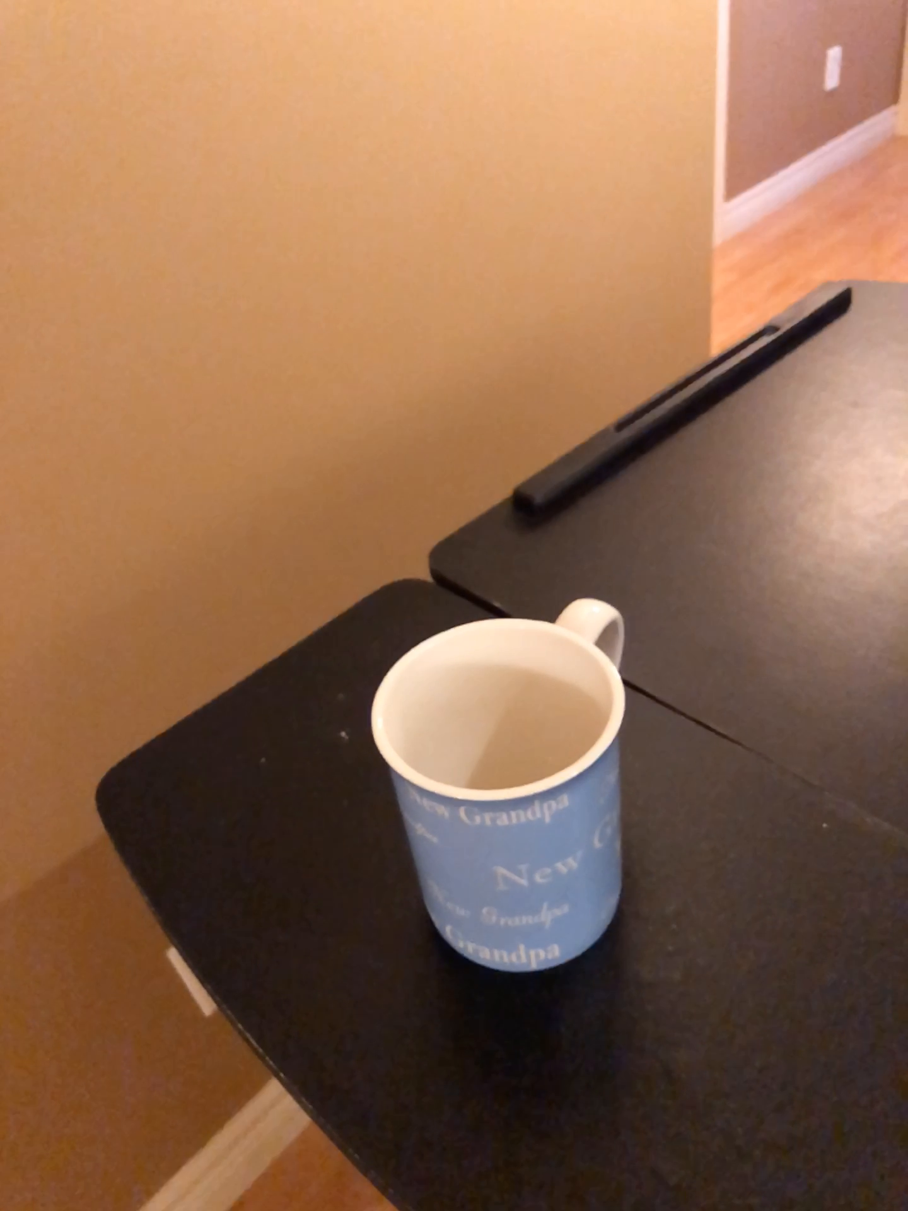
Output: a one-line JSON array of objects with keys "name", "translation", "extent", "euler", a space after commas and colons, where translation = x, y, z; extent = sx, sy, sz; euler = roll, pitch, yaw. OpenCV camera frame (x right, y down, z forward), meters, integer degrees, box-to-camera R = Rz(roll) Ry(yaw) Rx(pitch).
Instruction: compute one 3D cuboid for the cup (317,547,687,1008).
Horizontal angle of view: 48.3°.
[{"name": "cup", "translation": [0.030, 0.064, 0.419], "extent": [0.100, 0.109, 0.130], "euler": [10, 42, 24]}]
